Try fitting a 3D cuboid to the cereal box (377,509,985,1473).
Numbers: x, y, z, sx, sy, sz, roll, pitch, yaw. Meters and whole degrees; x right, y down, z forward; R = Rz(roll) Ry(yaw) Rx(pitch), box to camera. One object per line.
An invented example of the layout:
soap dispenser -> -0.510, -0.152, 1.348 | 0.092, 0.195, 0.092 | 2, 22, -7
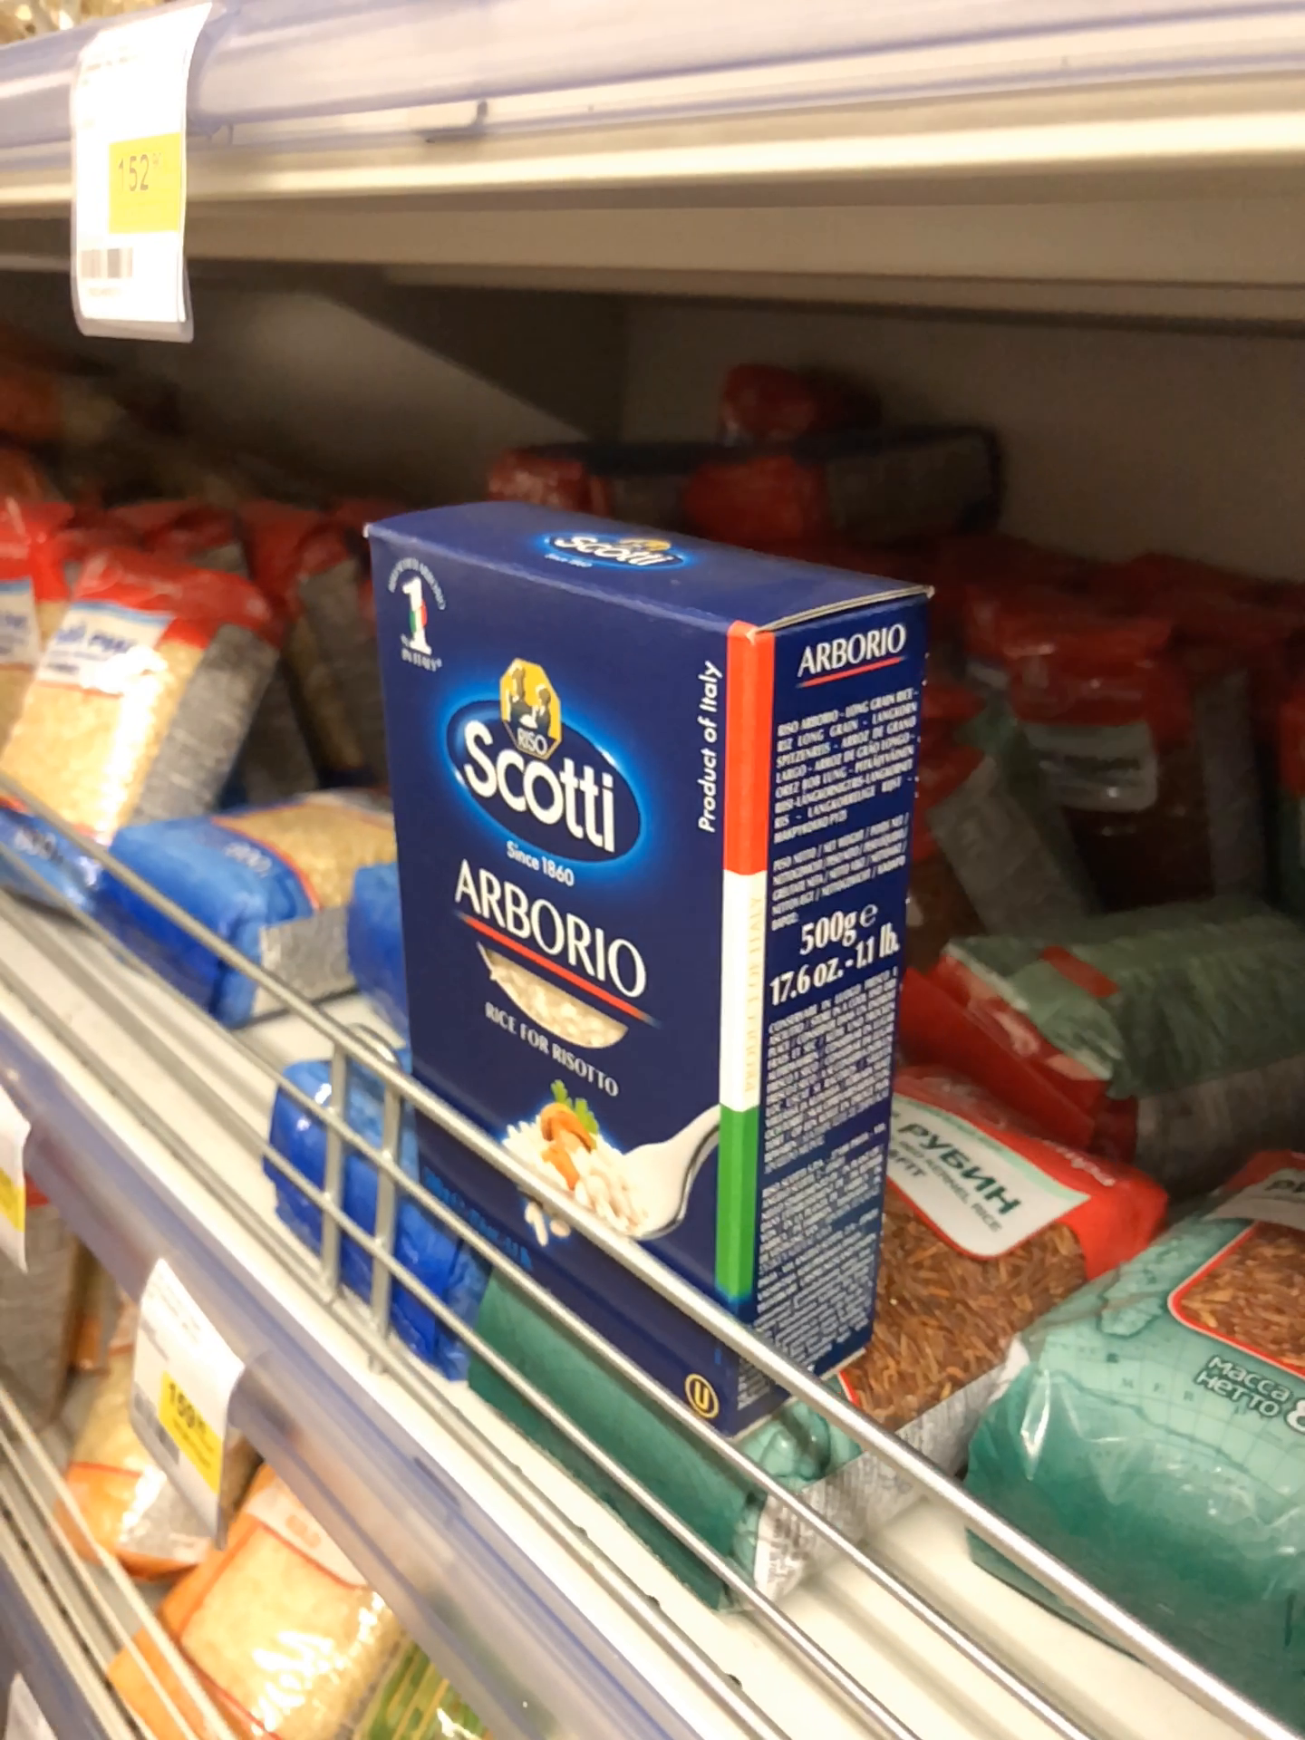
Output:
cereal box -> -0.001, 0.016, 0.296 | 0.050, 0.159, 0.110 | -17, 27, -39
